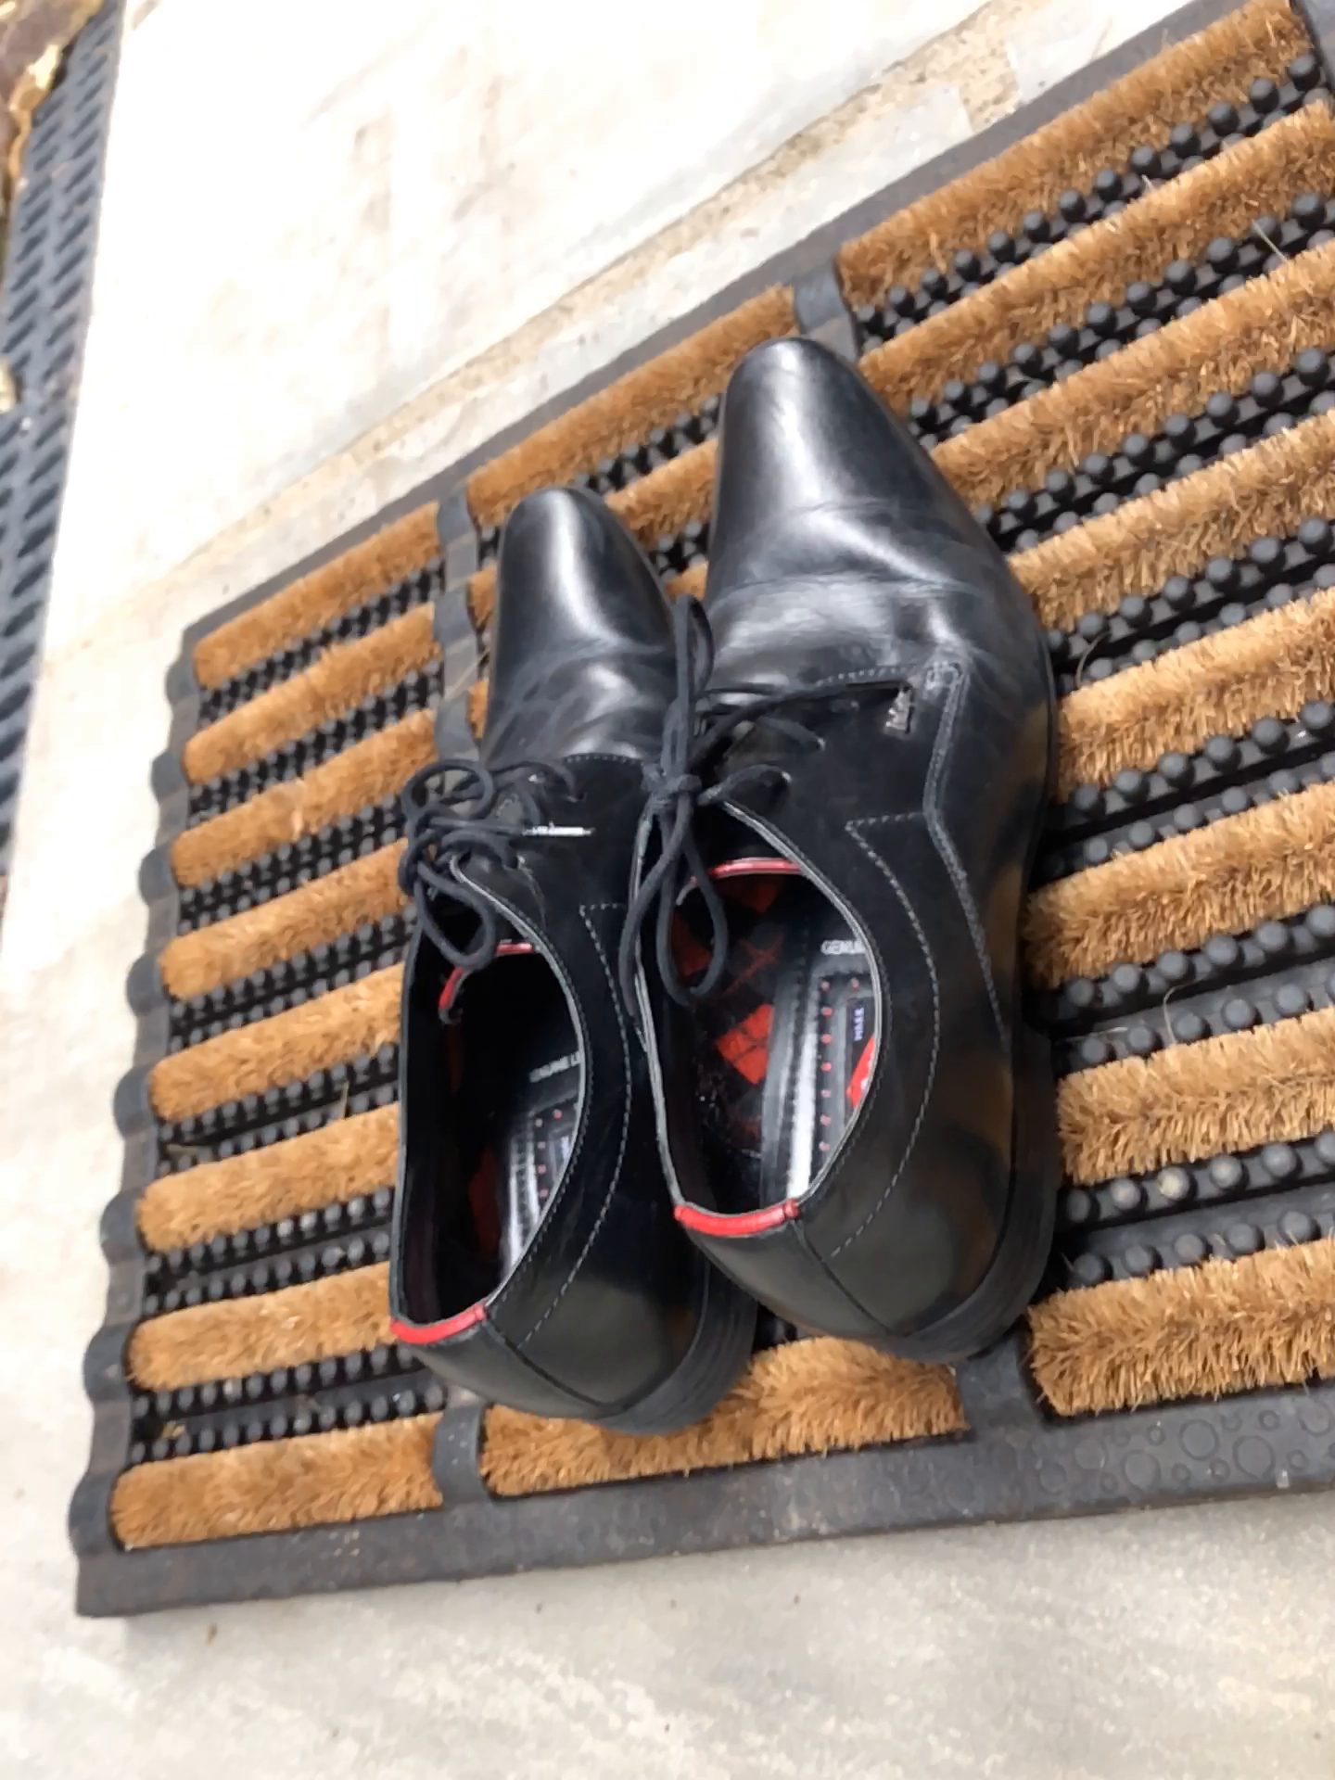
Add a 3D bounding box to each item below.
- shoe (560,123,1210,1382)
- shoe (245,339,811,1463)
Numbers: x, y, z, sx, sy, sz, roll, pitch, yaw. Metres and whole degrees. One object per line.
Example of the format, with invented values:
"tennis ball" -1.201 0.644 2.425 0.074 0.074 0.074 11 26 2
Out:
"shoe" 0.045 -0.038 0.389 0.100 0.099 0.301 -20 59 30
"shoe" -0.040 0.002 0.436 0.100 0.099 0.301 -20 59 30
